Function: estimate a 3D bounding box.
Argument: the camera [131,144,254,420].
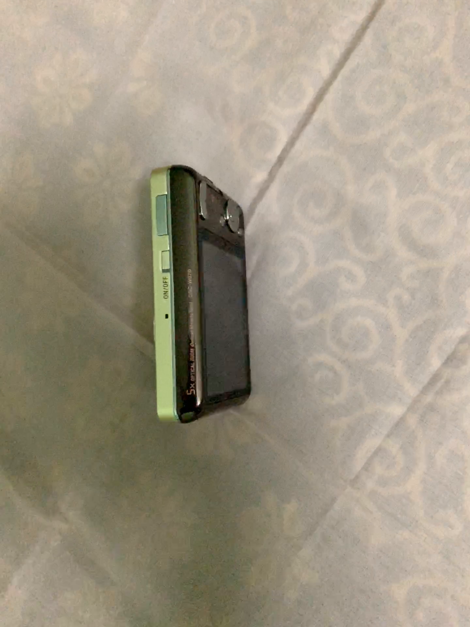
[{"bbox_3d":[-0.014,-0.008,0.187,0.021,0.060,0.088,-4,84,20],"label":"camera"}]
